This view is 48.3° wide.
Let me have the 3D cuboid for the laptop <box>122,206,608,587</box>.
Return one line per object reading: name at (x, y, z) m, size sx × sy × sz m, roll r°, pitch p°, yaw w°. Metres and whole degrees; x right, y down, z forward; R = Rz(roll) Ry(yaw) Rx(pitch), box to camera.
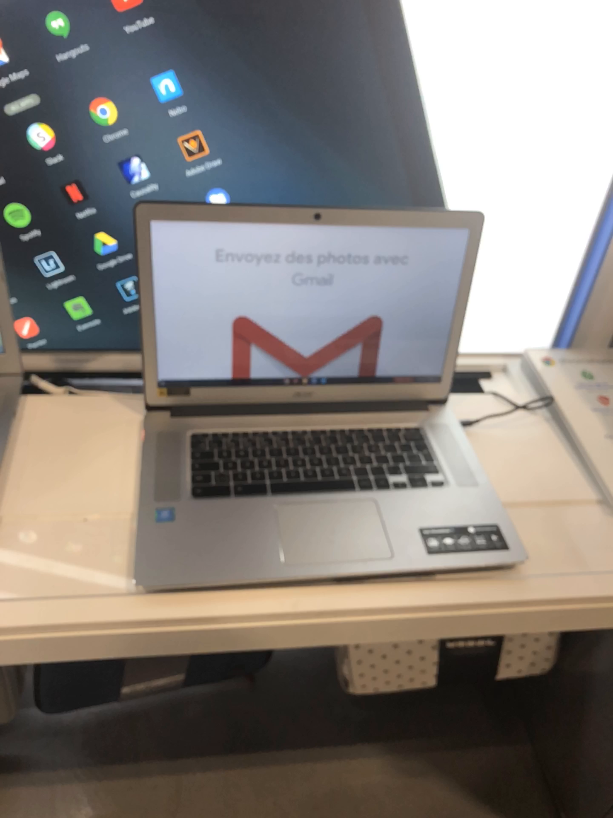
laptop at (0.022, -0.025, 0.688) m, size 0.371 × 0.242 × 0.283 m, roll -1°, pitch 38°, yaw -11°
